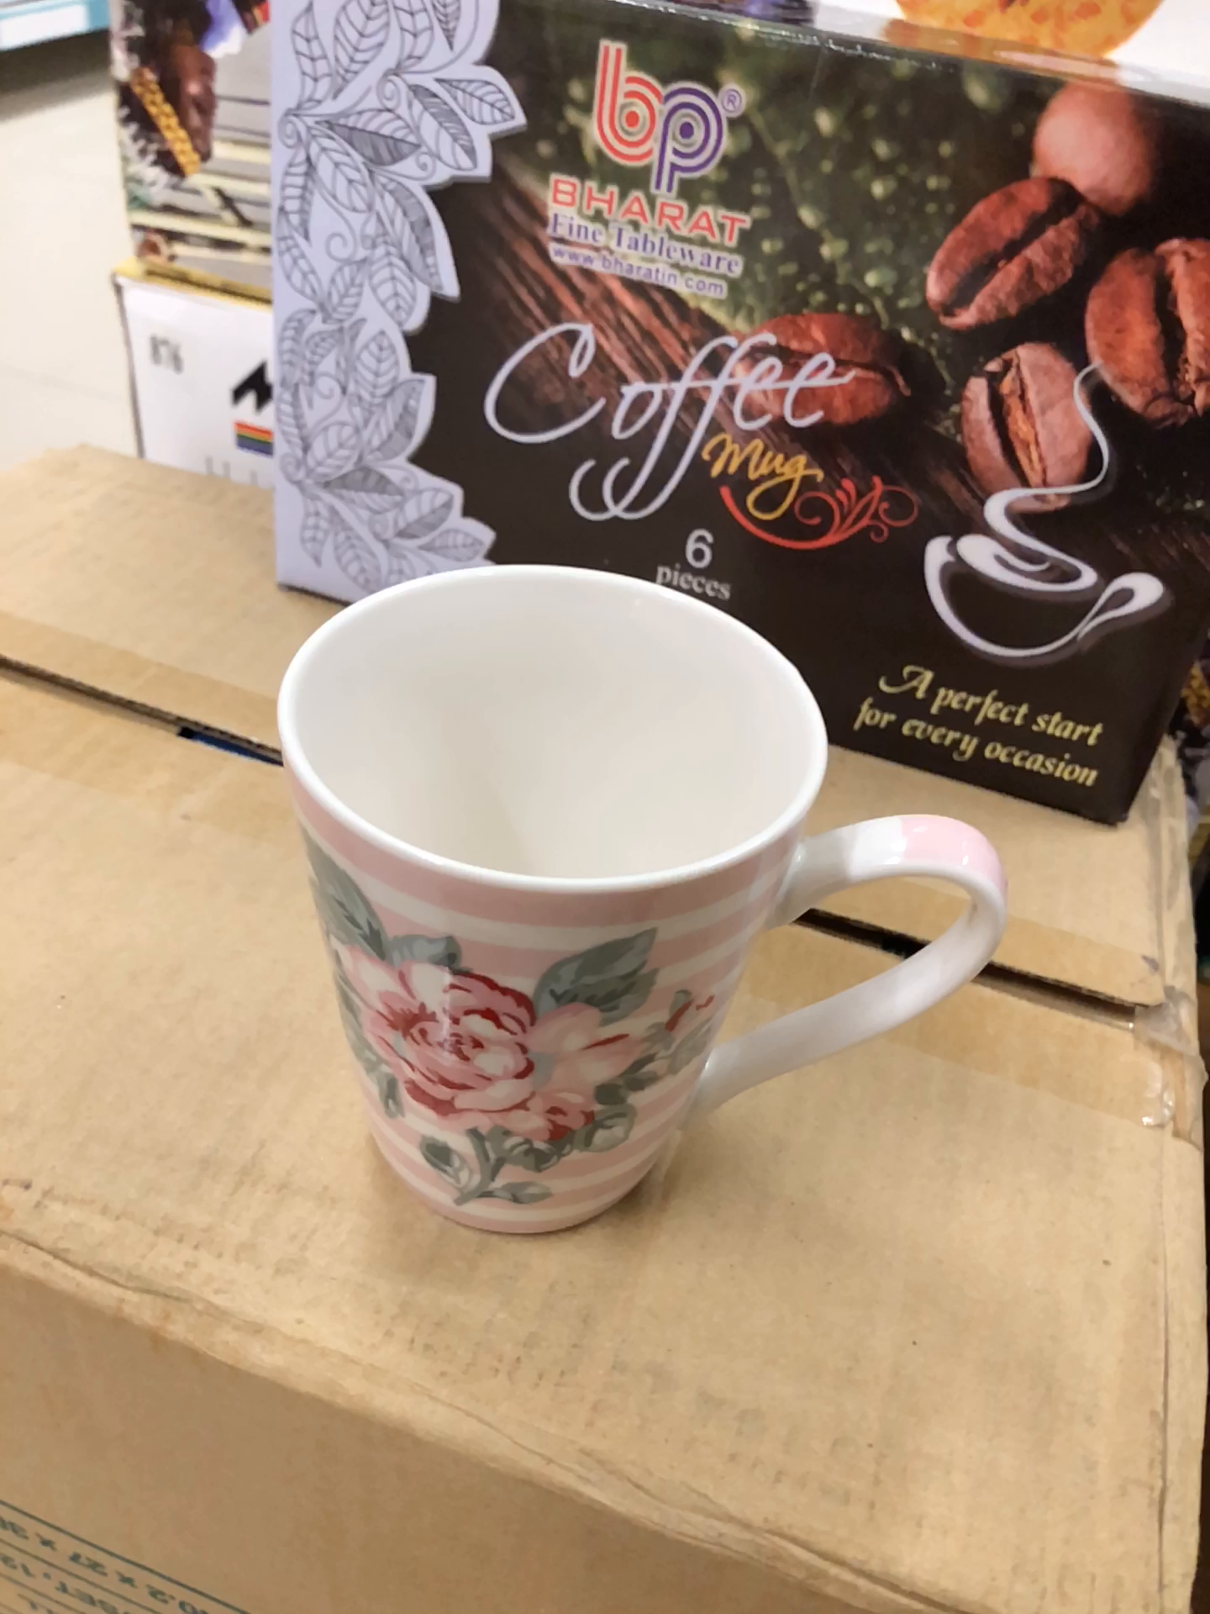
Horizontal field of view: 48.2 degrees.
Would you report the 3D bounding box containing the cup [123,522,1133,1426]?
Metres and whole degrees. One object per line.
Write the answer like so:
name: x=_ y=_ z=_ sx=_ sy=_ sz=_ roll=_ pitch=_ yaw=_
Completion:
cup: x=0.006 y=0.024 z=0.232 sx=0.130 sy=0.089 sz=0.091 roll=12 pitch=39 yaw=7
